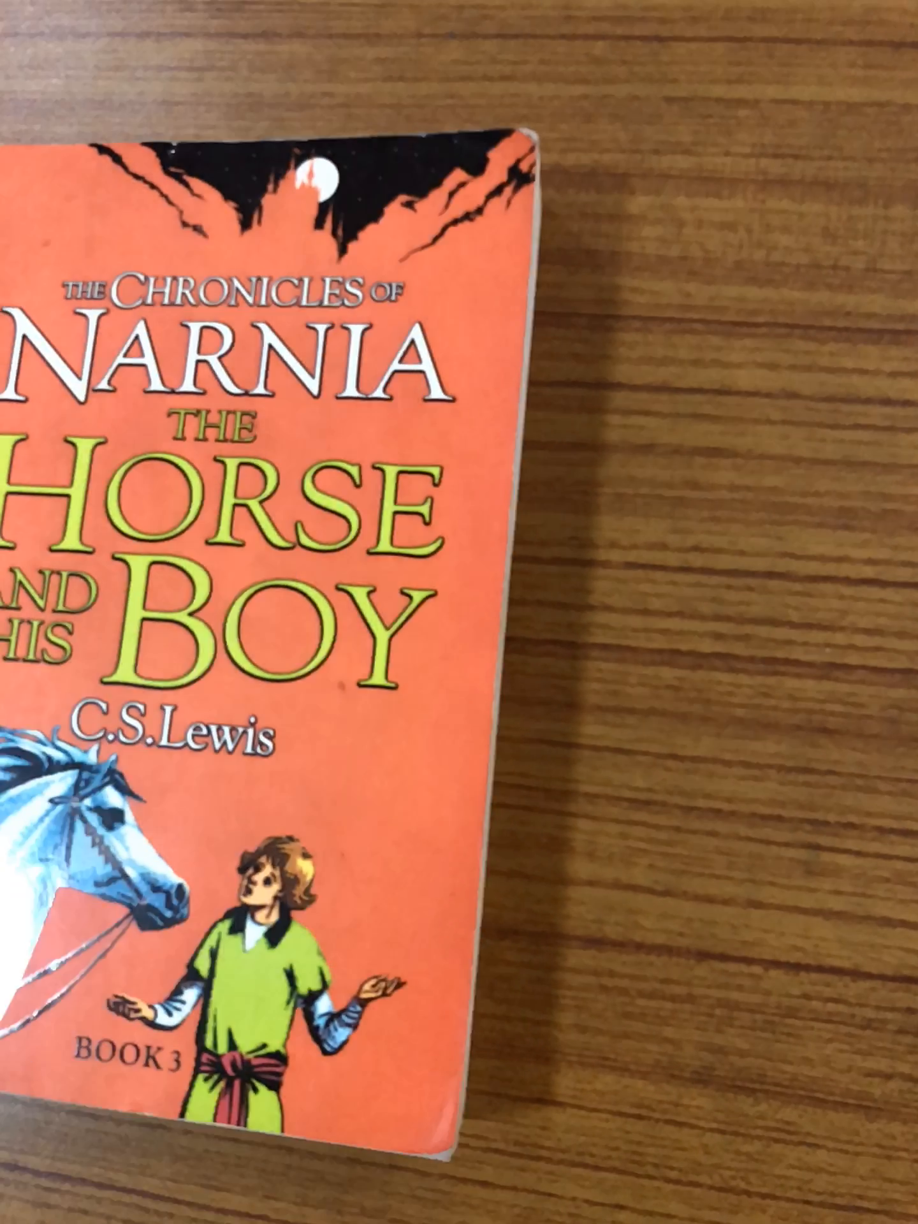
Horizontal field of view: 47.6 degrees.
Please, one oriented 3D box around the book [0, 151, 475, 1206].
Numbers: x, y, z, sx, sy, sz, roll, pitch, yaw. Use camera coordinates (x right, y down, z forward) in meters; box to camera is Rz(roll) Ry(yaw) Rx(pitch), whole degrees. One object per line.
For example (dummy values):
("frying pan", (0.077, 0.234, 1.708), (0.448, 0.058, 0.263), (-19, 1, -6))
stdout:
("book", (-0.071, 0.003, 0.212), (0.130, 0.030, 0.190), (4, 82, 9))
